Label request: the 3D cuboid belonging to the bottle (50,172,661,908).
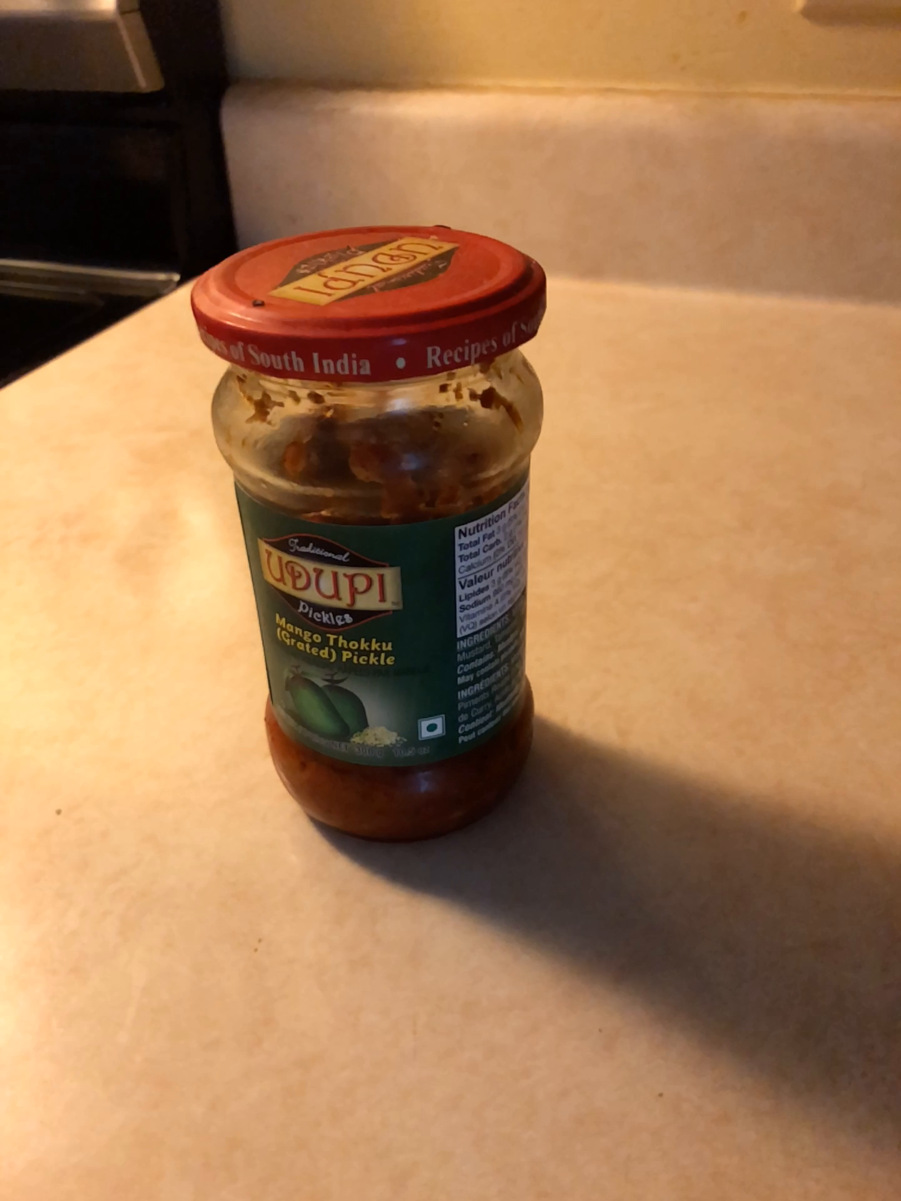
[{"bbox_3d":[-0.013,-0.018,0.219,0.080,0.120,0.080,-1,33,1],"label":"bottle"}]
